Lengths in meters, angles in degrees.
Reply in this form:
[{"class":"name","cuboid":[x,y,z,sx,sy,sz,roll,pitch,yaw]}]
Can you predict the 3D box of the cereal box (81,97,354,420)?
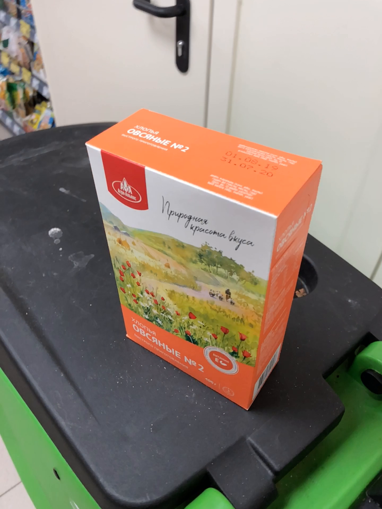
[{"class":"cereal box","cuboid":[0.011,0.012,0.318,0.150,0.209,0.060,25,49,23]}]
